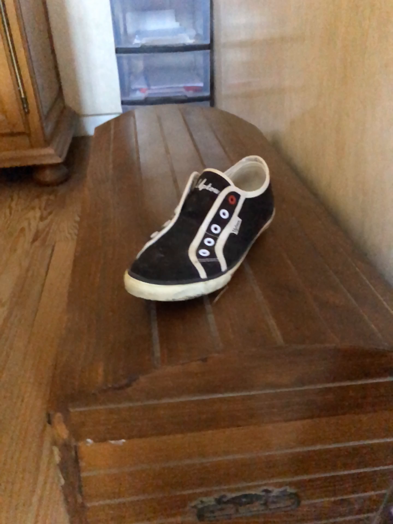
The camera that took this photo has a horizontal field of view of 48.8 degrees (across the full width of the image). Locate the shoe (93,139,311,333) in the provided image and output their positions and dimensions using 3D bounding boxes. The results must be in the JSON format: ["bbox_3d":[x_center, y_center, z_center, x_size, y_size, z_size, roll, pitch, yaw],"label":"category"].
[{"bbox_3d":[0.022,-0.046,0.448,0.100,0.080,0.242,19,39,29],"label":"shoe"}]
